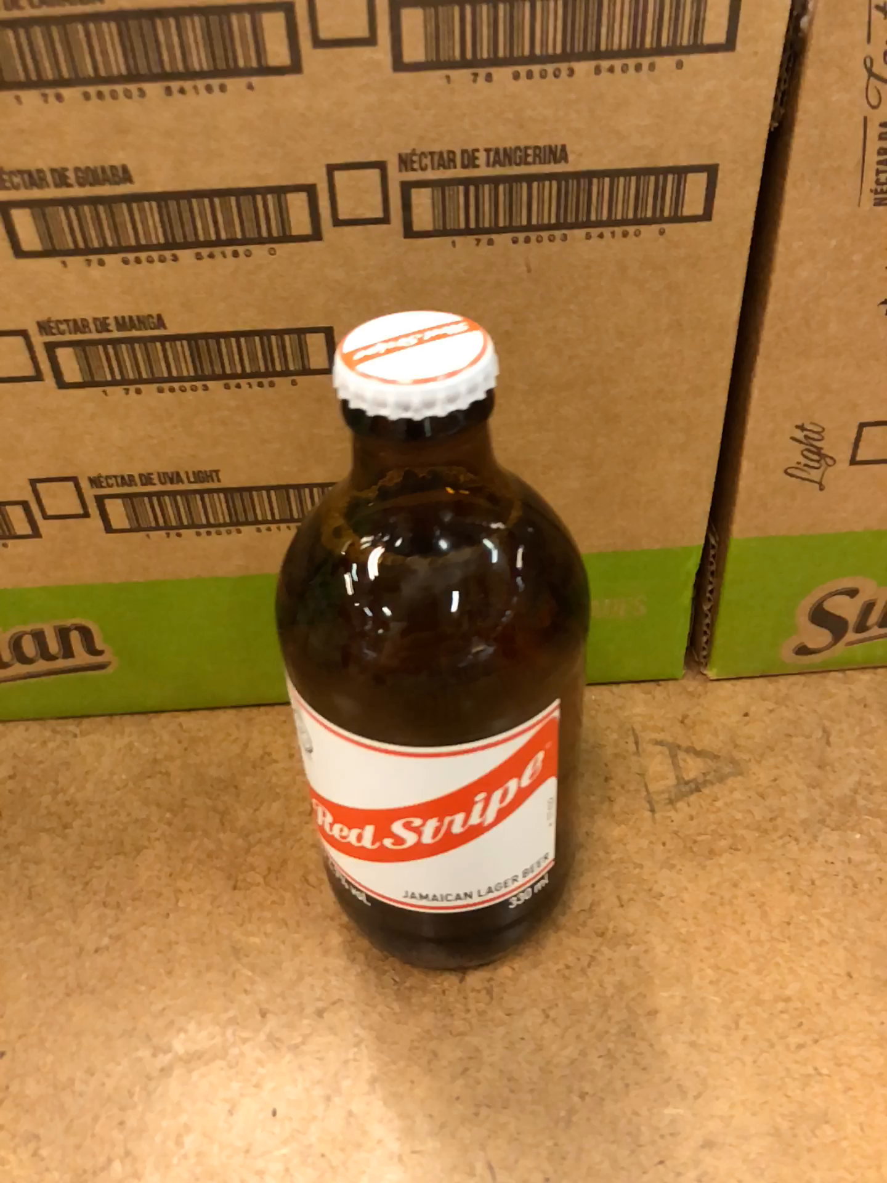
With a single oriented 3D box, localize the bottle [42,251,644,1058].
[{"bbox_3d":[-0.007,0.021,0.212,0.080,0.159,0.070,7,42,12],"label":"bottle"}]
